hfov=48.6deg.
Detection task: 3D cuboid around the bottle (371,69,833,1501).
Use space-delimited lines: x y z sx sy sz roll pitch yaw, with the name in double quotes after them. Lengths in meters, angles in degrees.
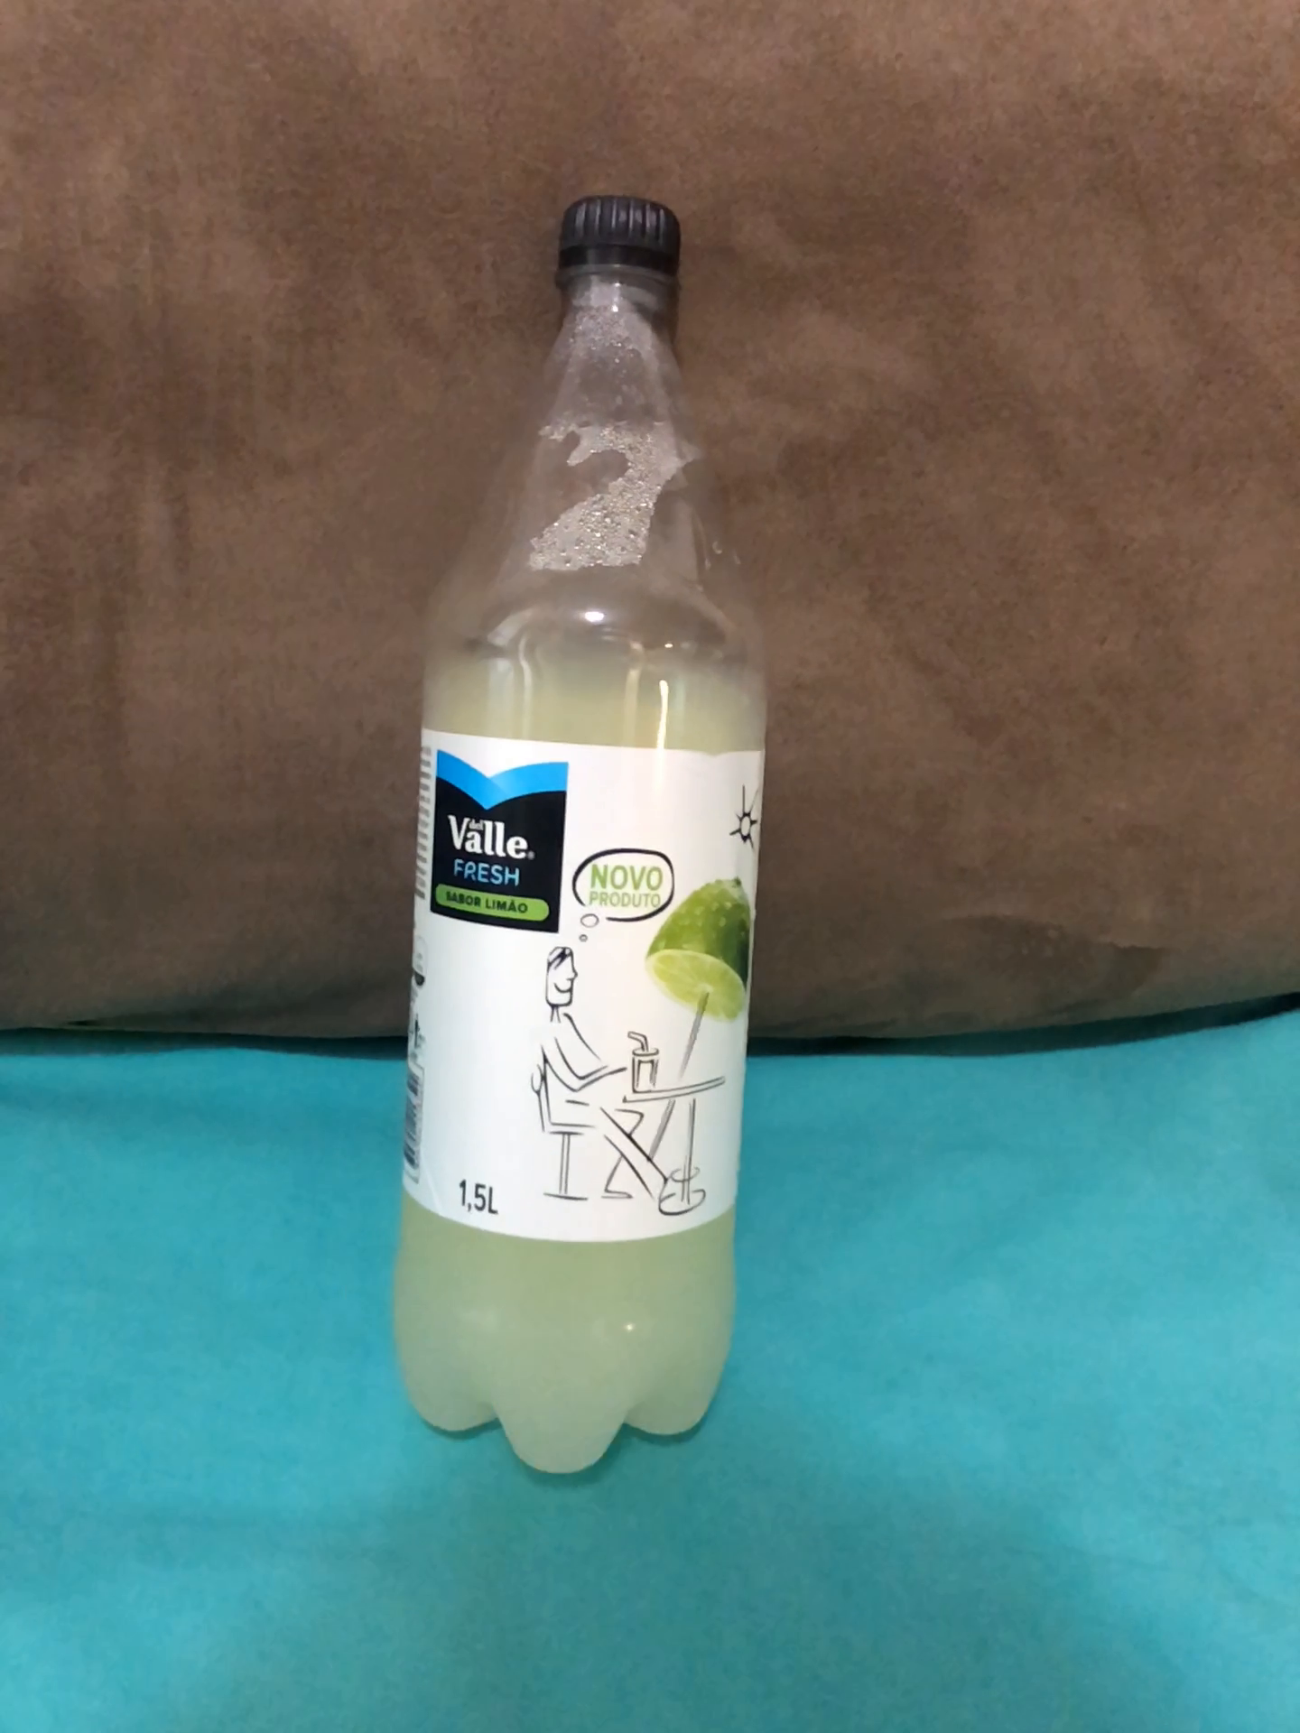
-0.014 -0.020 0.385 0.100 0.330 0.100 1 -4 0 "bottle"
